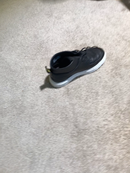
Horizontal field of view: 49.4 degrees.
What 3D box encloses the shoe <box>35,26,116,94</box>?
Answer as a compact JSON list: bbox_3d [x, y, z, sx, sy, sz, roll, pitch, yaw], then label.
[{"bbox_3d":[0.040,-0.099,0.537,0.262,0.111,0.107,-28,63,-8],"label":"shoe"}]
